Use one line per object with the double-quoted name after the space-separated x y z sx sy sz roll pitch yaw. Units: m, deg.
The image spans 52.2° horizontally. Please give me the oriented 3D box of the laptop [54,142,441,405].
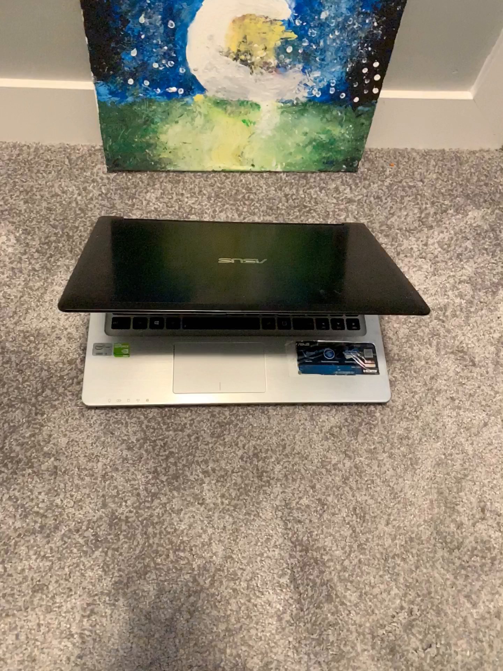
-0.010 -0.066 0.581 0.354 0.134 0.253 0 65 -6 "laptop"
